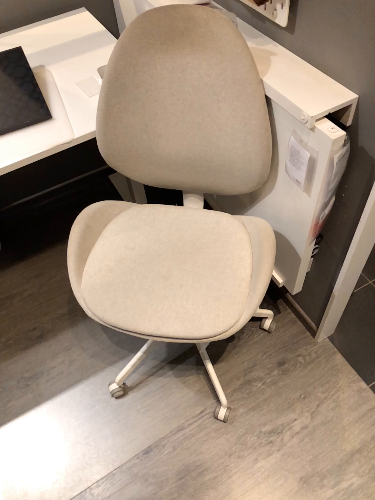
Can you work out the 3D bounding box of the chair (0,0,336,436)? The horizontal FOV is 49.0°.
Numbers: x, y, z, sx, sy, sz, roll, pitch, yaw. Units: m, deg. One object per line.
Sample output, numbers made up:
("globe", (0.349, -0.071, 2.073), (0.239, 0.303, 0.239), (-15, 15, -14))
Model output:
("chair", (-0.051, -0.037, 1.145), (0.681, 0.964, 0.684), (8, 54, 12))
